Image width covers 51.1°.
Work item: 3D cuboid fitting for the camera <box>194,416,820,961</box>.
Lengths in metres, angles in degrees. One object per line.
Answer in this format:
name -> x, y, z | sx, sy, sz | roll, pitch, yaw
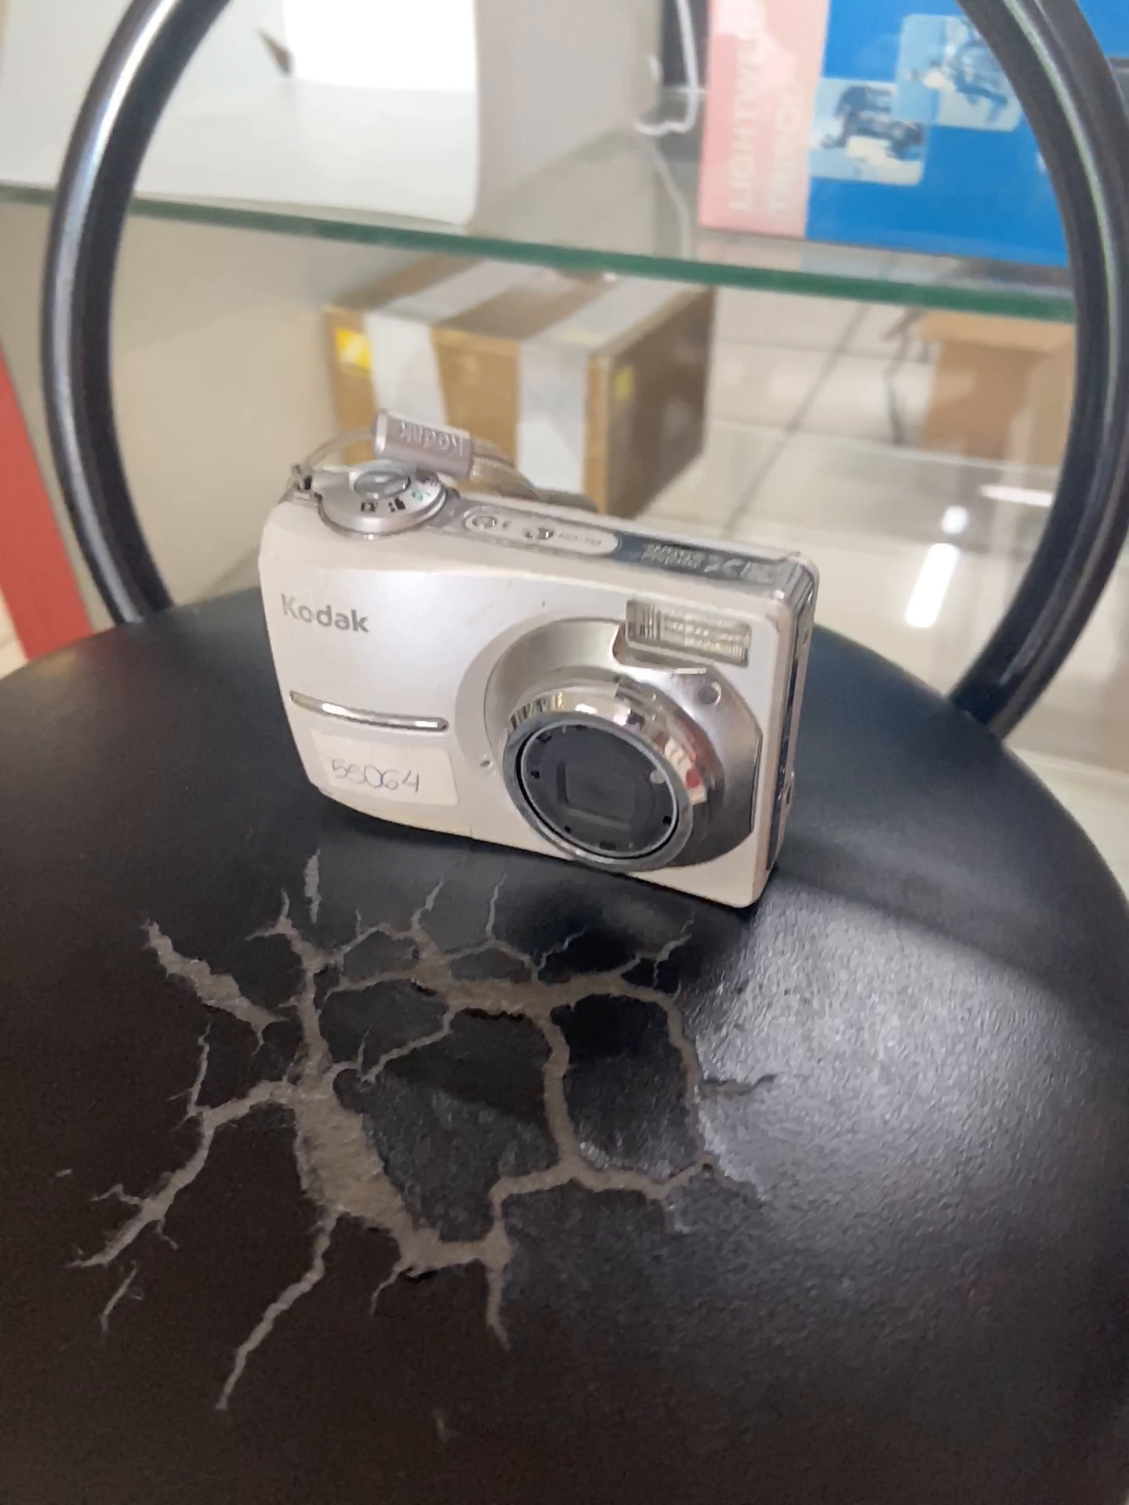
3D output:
camera -> -0.008, -0.013, 0.207 | 0.090, 0.070, 0.040 | 12, 40, 17
